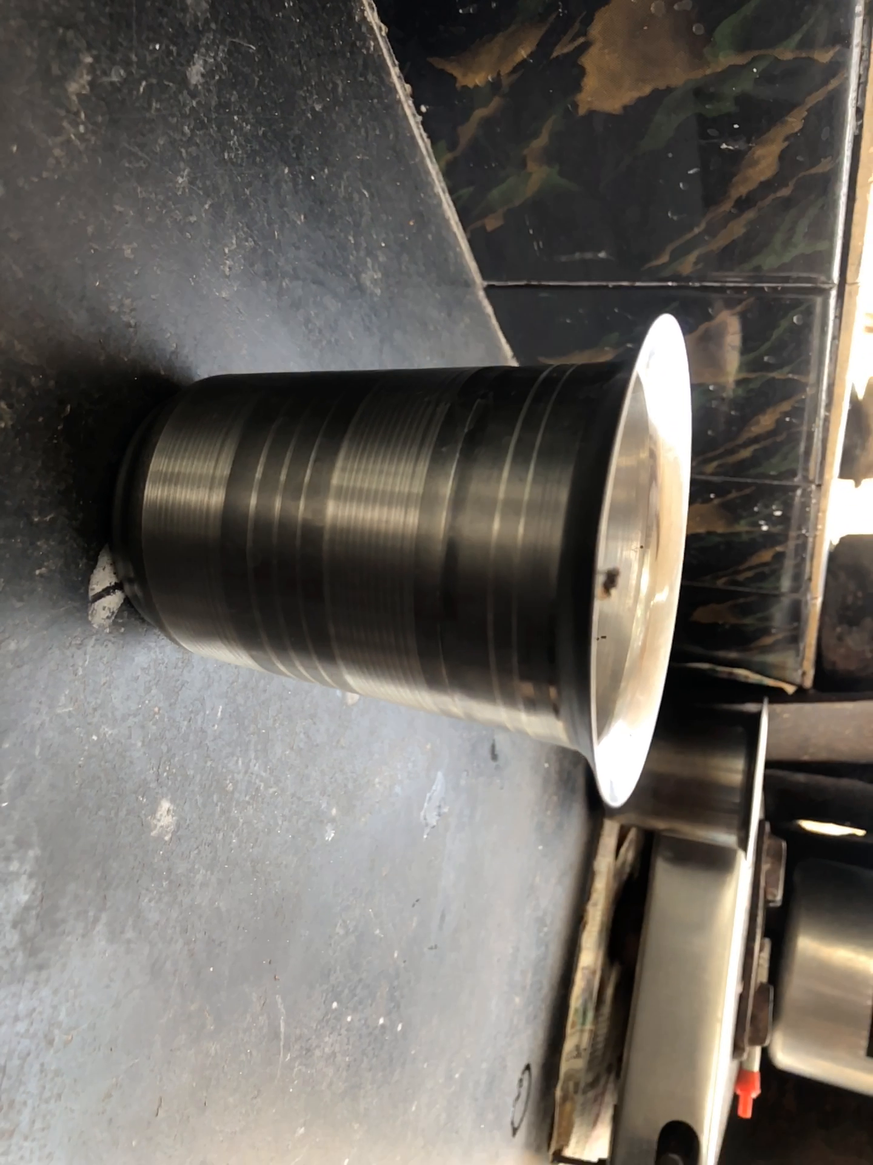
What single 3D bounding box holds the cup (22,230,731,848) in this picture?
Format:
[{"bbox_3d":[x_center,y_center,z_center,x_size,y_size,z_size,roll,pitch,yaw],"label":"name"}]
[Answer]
[{"bbox_3d":[-0.004,-0.010,0.202,0.091,0.109,0.090,6,90,-70],"label":"cup"}]
